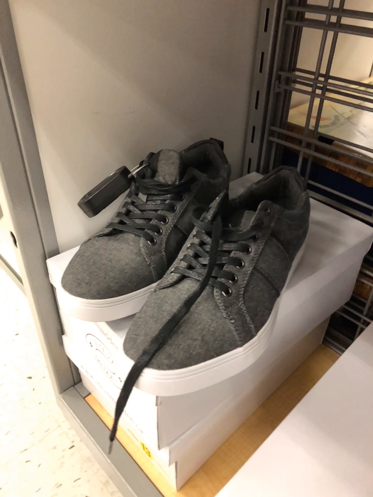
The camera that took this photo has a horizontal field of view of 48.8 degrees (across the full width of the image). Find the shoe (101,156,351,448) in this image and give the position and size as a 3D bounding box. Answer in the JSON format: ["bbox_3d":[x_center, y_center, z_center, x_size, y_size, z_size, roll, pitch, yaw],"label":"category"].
[{"bbox_3d":[0.052,0.021,0.374,0.100,0.106,0.255,22,41,25],"label":"shoe"}]

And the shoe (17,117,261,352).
[{"bbox_3d":[-0.026,-0.038,0.429,0.110,0.106,0.255,19,40,23],"label":"shoe"}]
